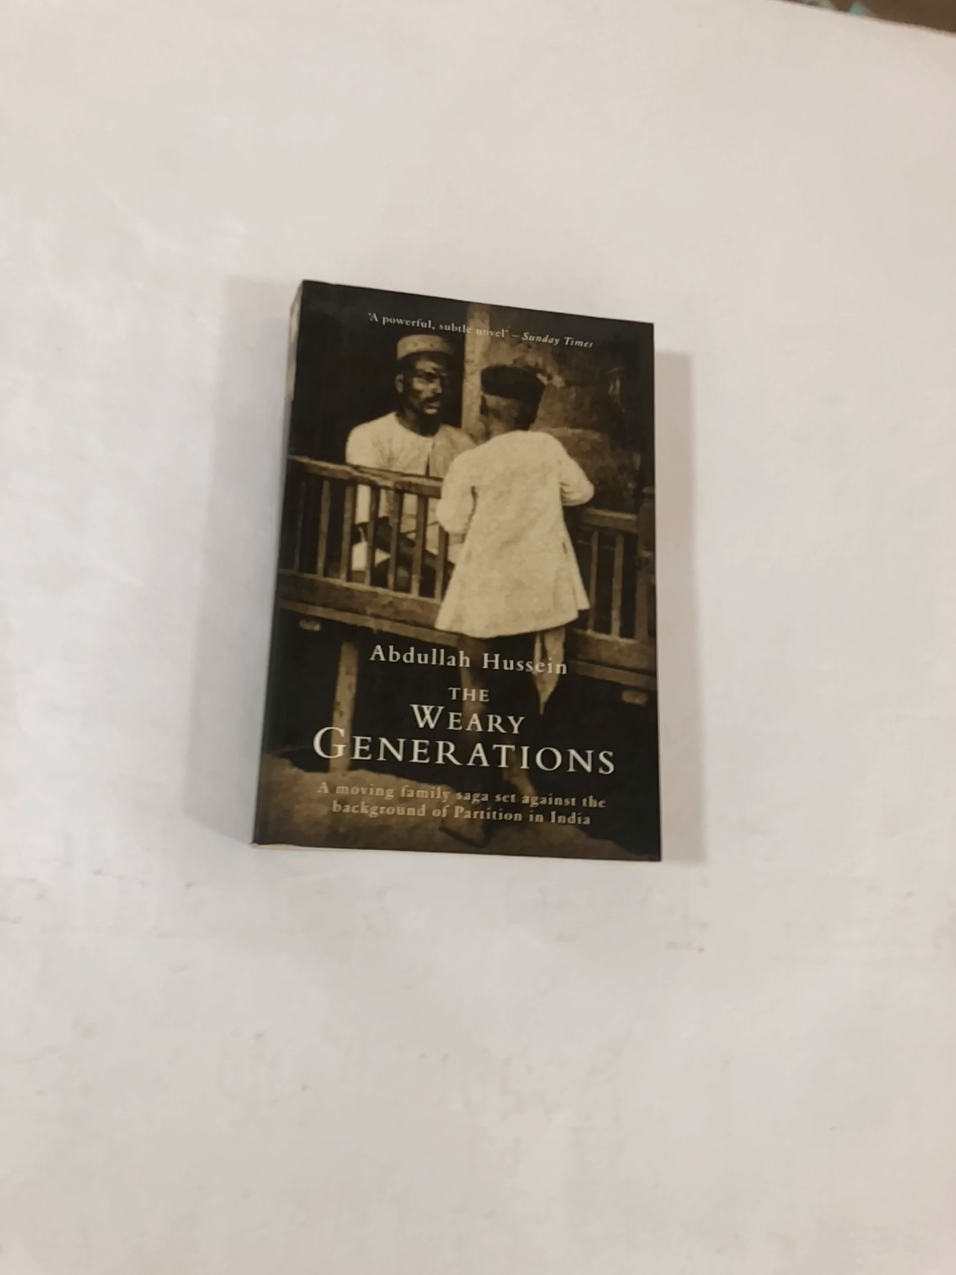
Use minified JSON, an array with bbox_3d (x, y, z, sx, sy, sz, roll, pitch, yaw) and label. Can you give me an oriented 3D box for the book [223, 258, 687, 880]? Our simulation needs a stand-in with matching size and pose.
[{"bbox_3d":[-0.004,-0.024,0.360,0.140,0.030,0.200,4,73,-8],"label":"book"}]
